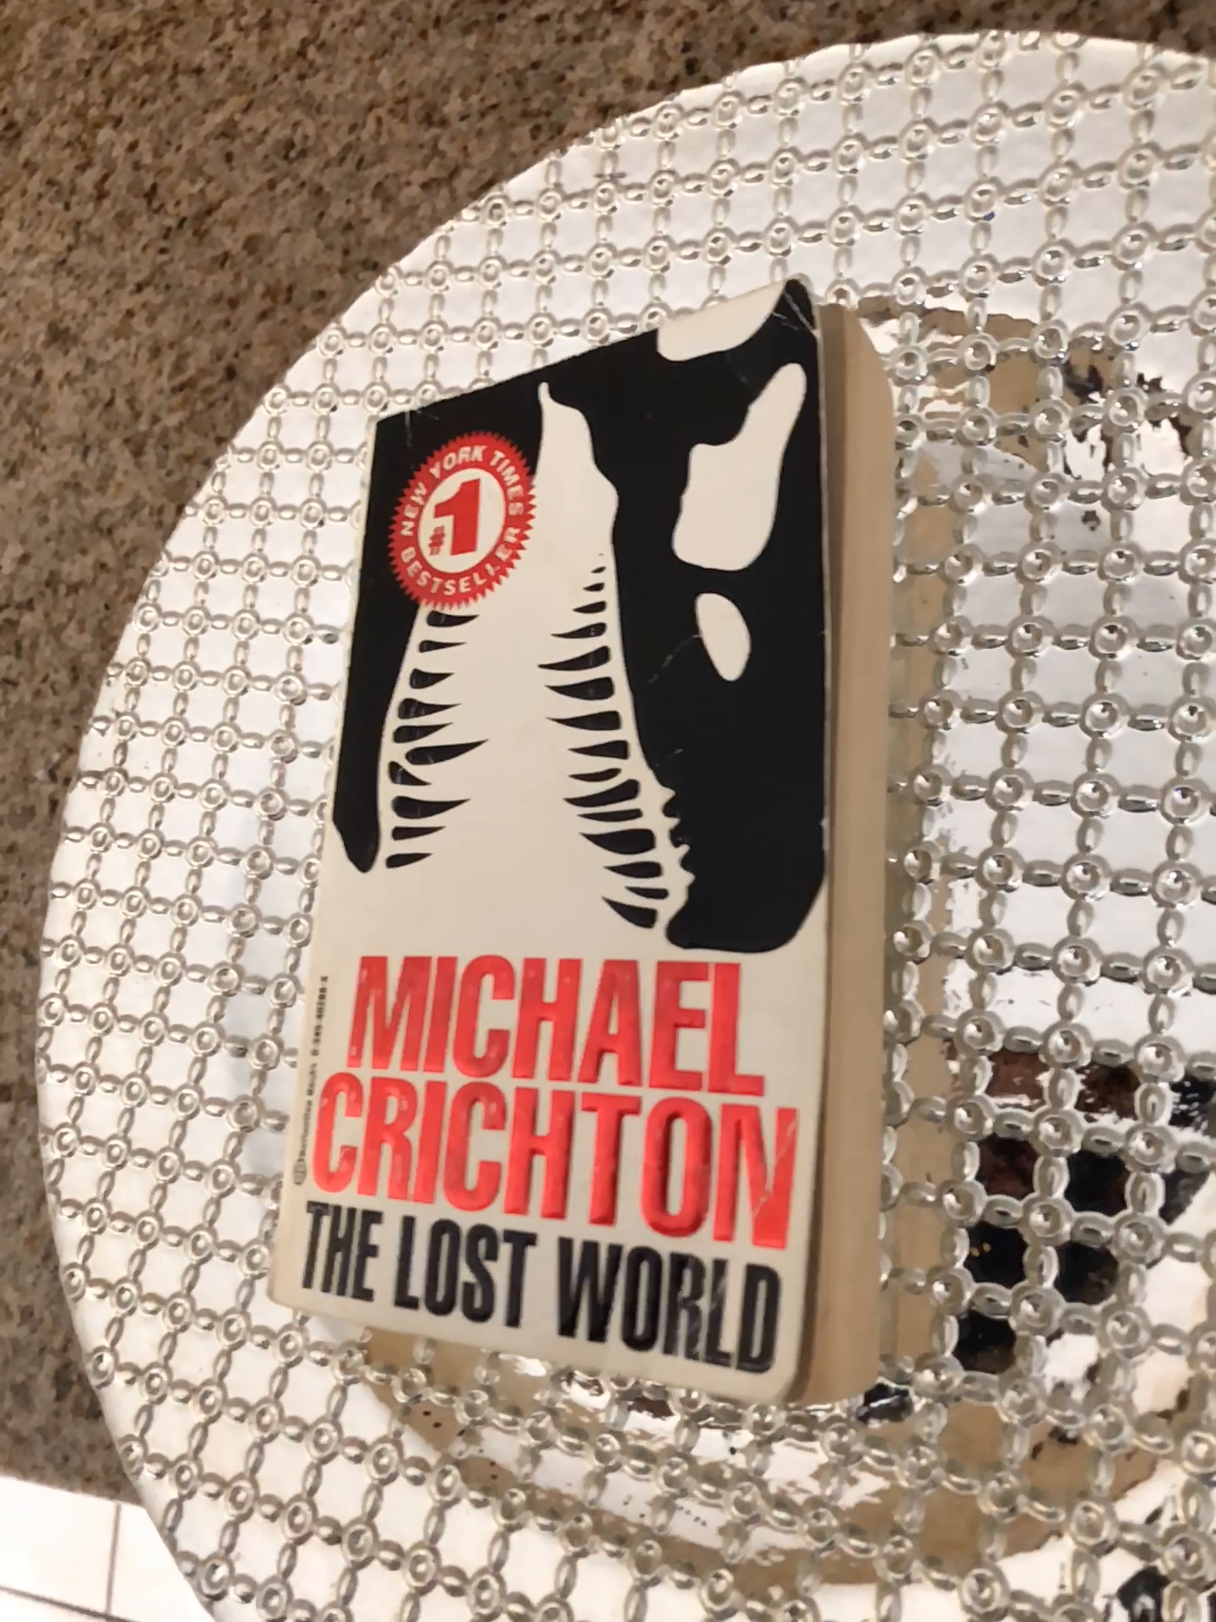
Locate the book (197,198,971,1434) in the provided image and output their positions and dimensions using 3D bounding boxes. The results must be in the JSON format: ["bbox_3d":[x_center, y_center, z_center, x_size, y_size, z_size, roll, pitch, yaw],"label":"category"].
[{"bbox_3d":[-0.002,-0.002,0.241,0.119,0.040,0.182,-2,76,29],"label":"book"}]
